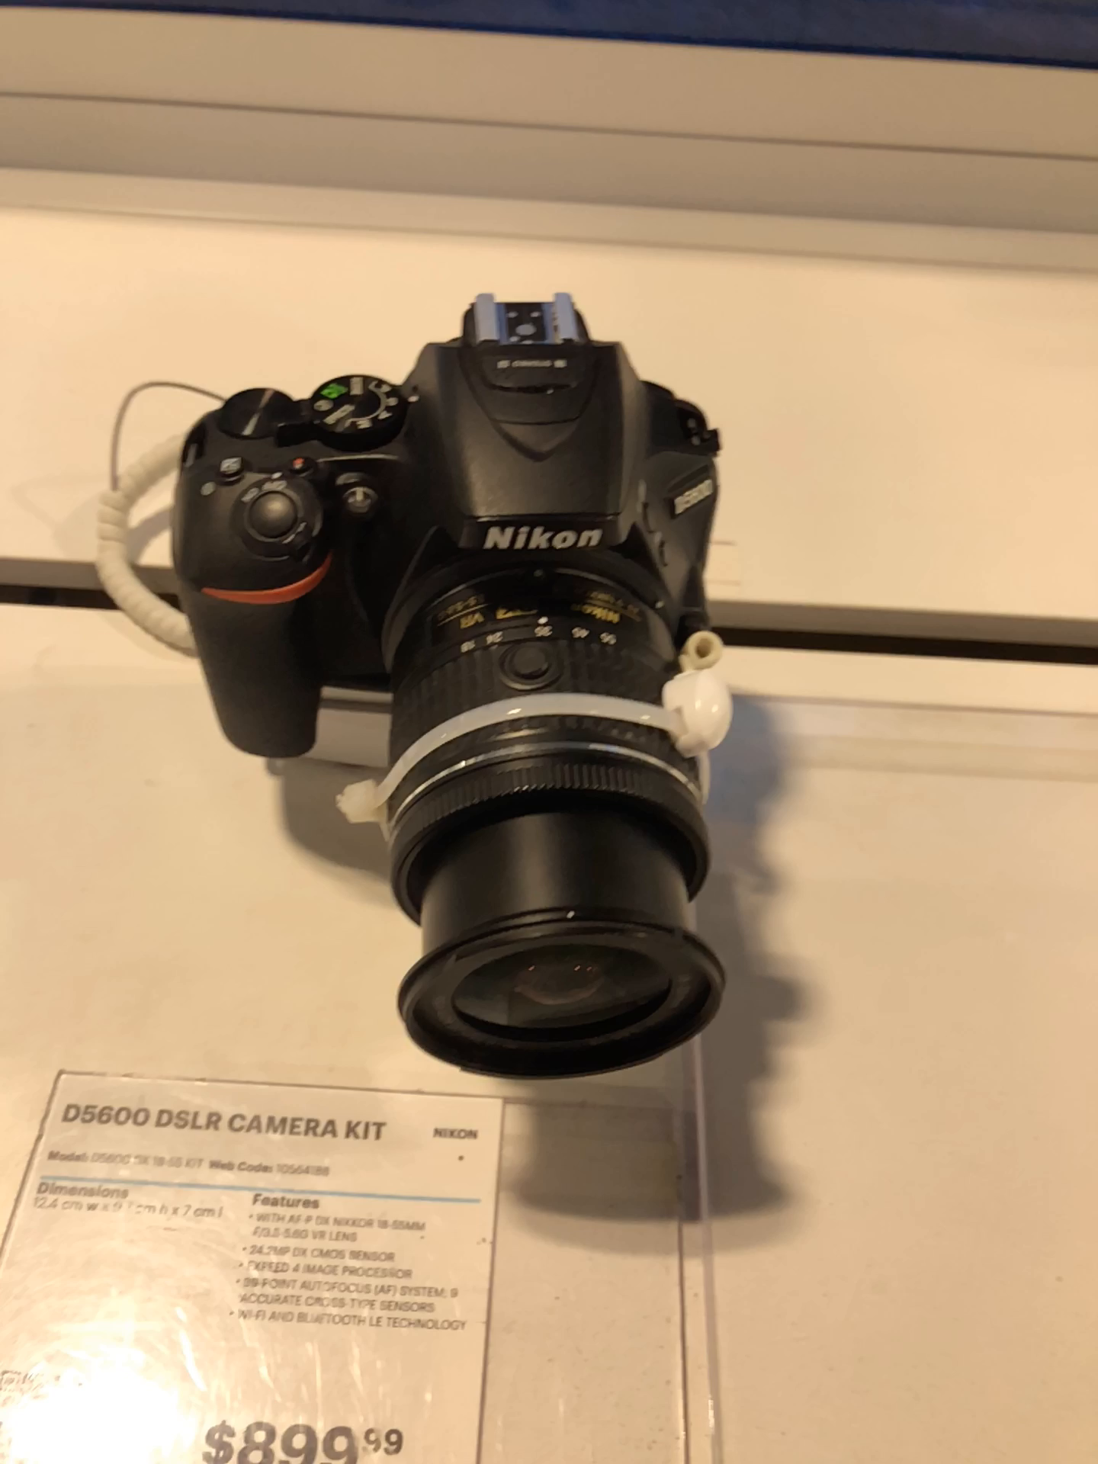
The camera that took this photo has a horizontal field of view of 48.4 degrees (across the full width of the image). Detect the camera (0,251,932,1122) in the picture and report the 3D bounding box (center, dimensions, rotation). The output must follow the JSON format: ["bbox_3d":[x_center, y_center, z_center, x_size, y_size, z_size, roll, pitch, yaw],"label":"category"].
[{"bbox_3d":[-0.019,-0.016,0.247,0.130,0.089,0.151,-2,50,-4],"label":"camera"}]
